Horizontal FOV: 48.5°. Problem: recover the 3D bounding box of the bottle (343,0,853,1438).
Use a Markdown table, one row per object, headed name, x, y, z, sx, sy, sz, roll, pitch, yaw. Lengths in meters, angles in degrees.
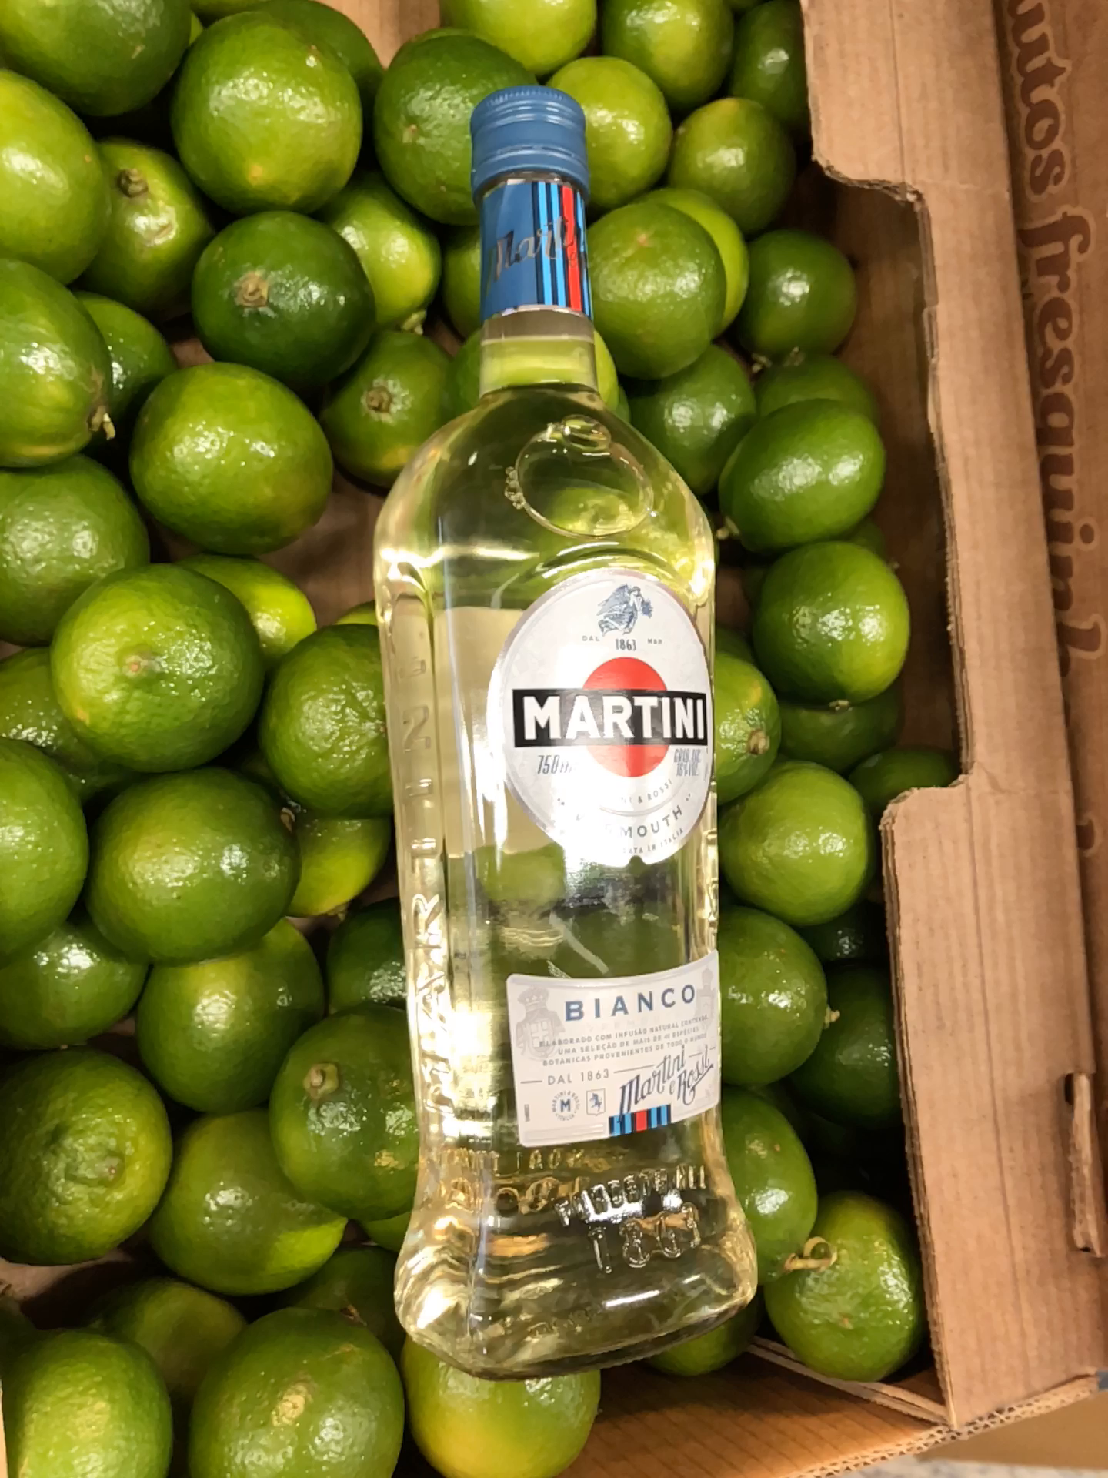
| name | x | y | z | sx | sy | sz | roll | pitch | yaw |
| --- | --- | --- | --- | --- | --- | --- | --- | --- | --- |
| bottle | 0.008 | -0.014 | 0.314 | 0.100 | 0.050 | 0.320 | 1 | 82 | -30 |
